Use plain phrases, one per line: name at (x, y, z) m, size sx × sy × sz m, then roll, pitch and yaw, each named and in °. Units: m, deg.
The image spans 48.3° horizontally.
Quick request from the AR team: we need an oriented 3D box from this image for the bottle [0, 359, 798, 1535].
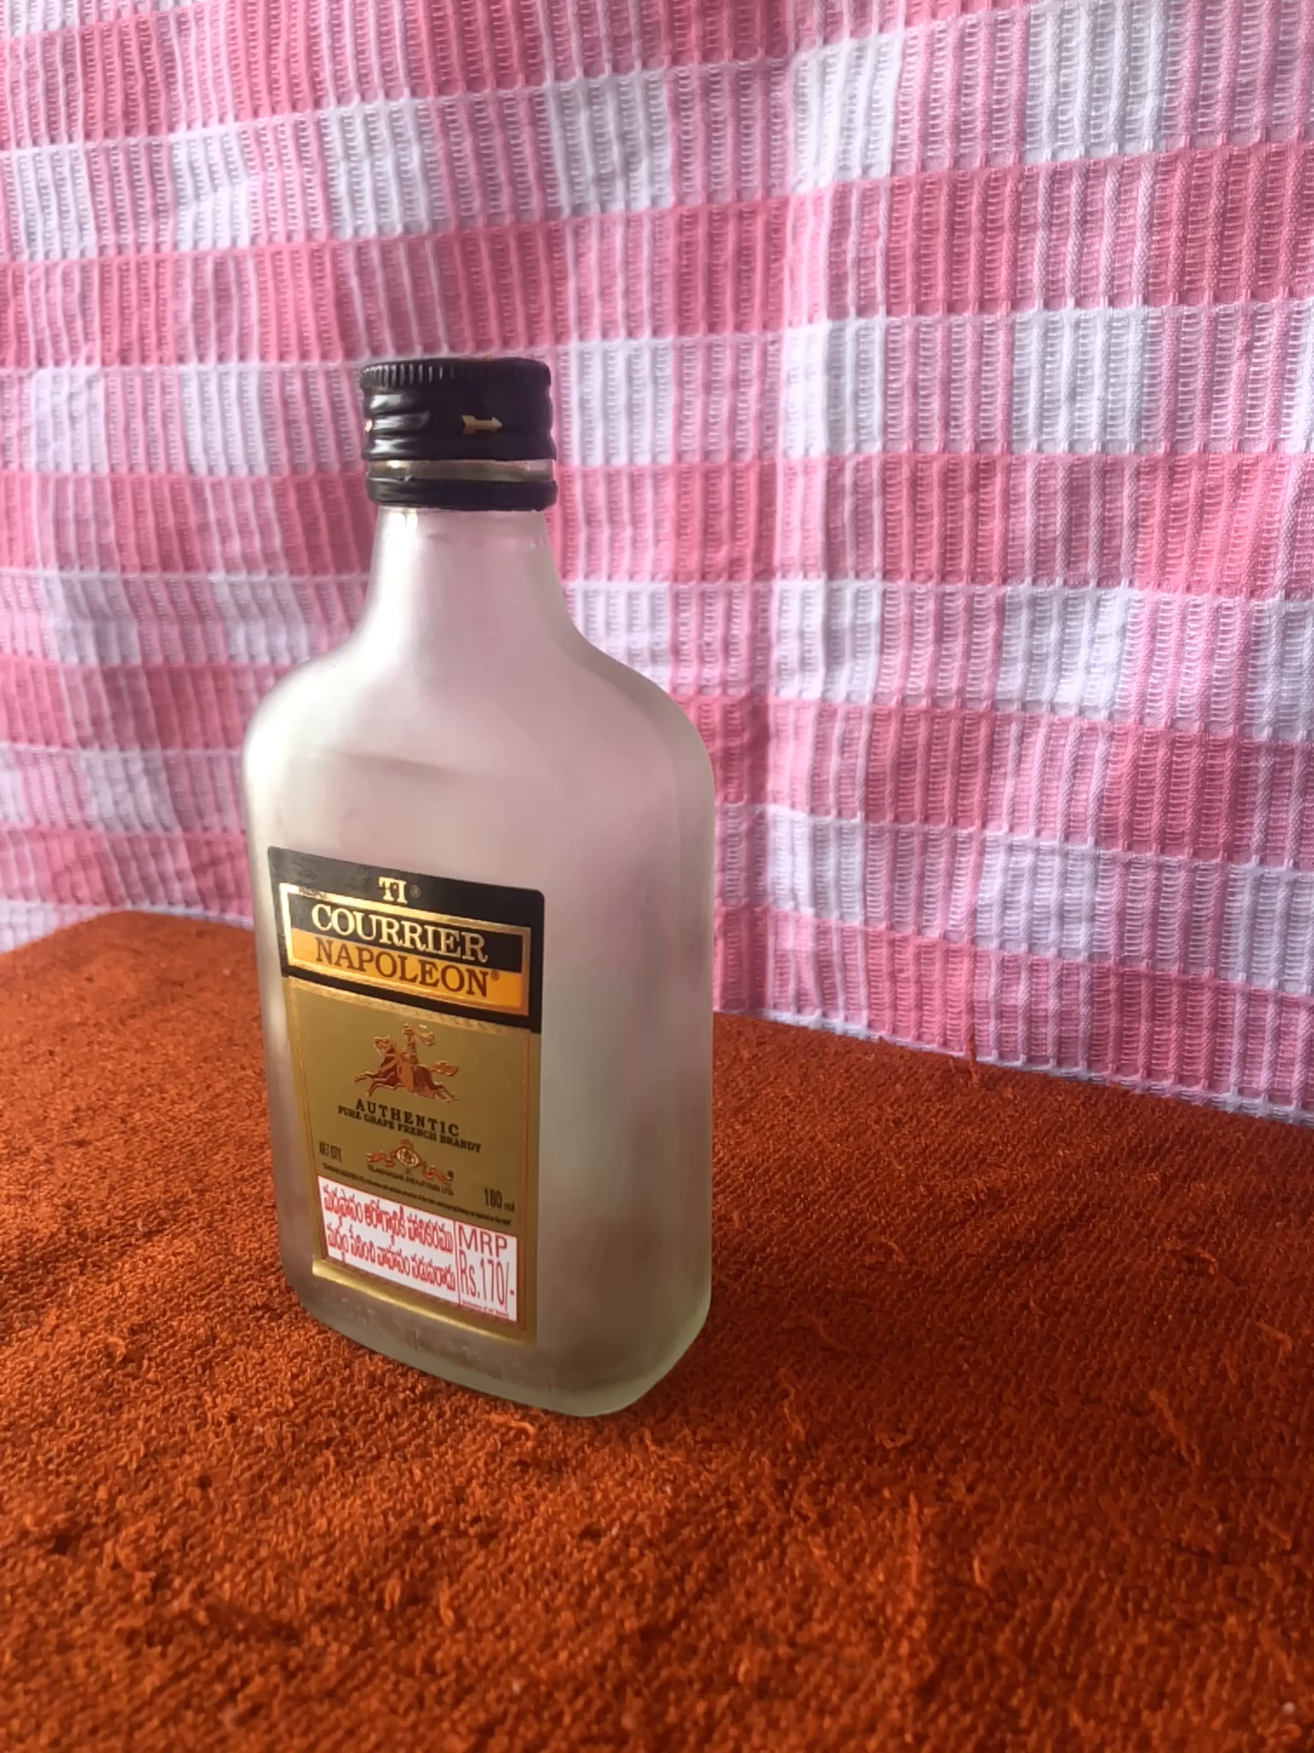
bottle at (-0.031, 0.002, 0.189) m, size 0.080 × 0.129 × 0.050 m, roll 10°, pitch 21°, yaw 27°
